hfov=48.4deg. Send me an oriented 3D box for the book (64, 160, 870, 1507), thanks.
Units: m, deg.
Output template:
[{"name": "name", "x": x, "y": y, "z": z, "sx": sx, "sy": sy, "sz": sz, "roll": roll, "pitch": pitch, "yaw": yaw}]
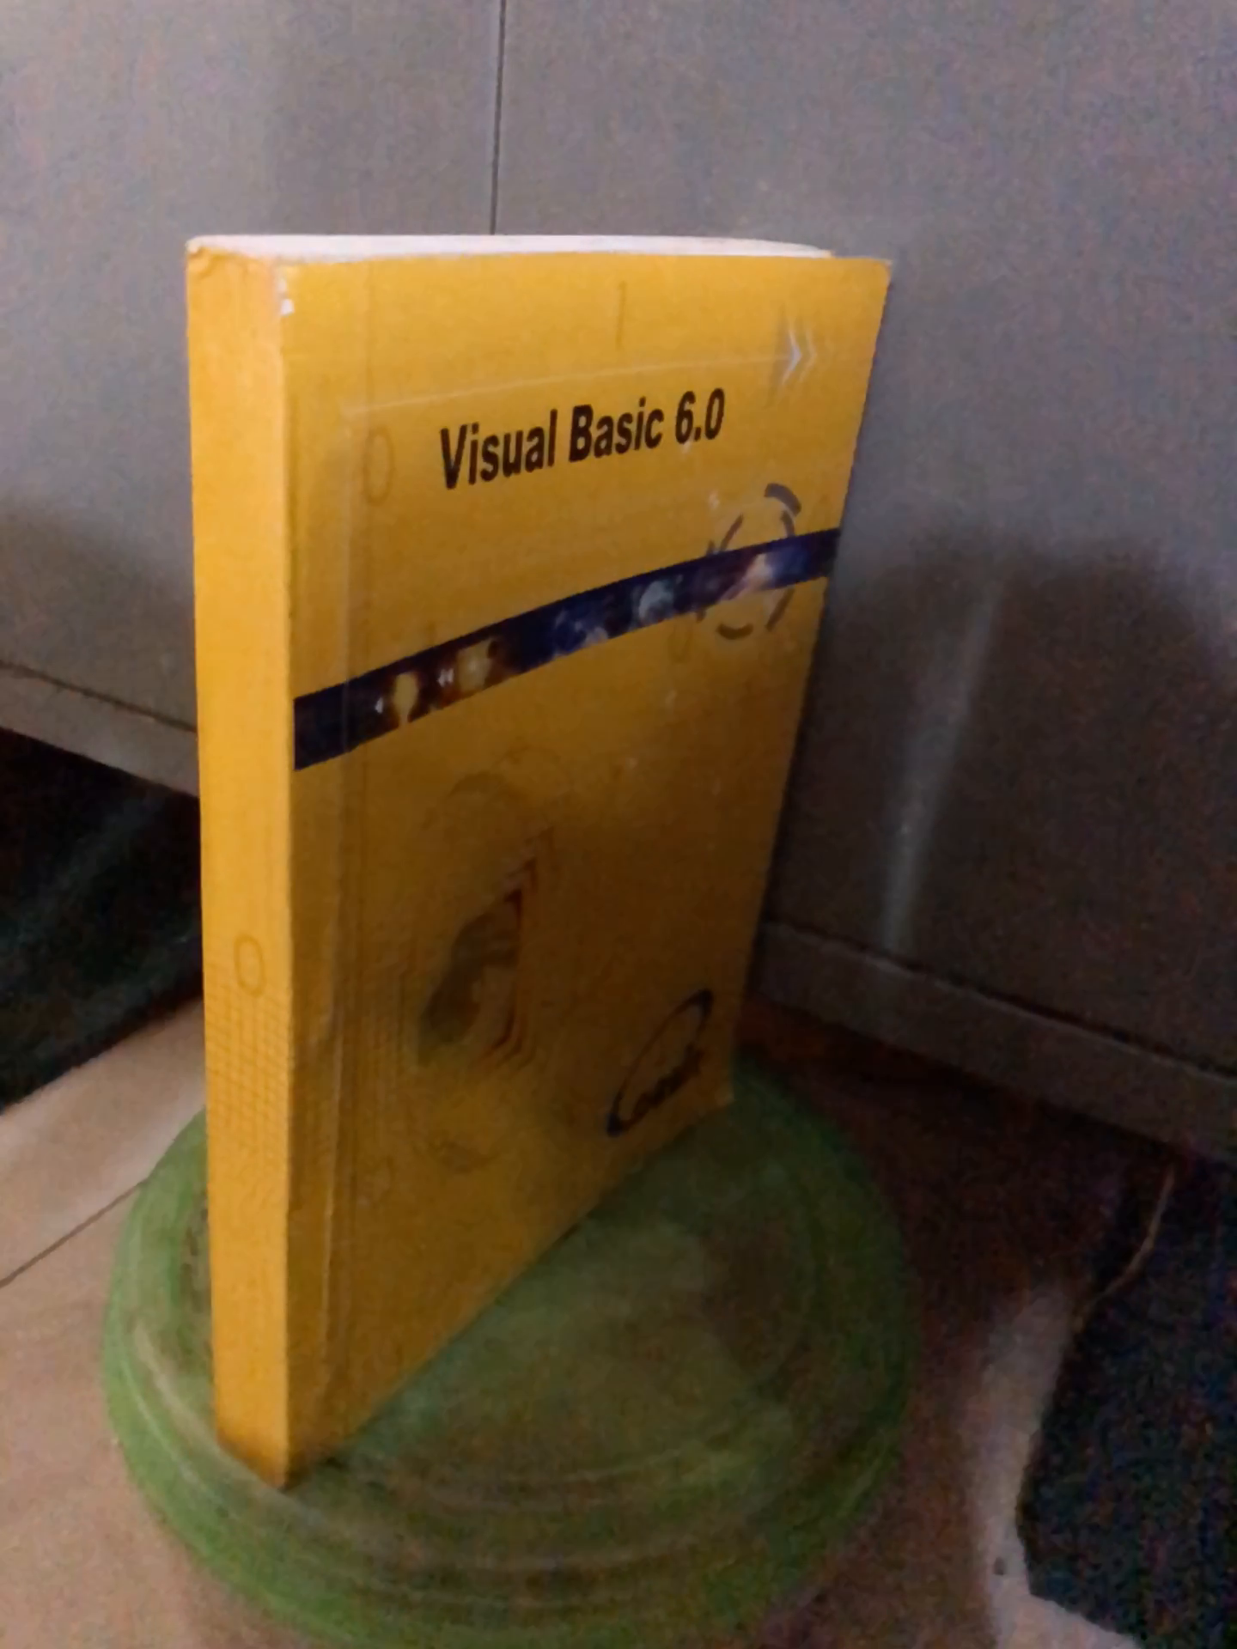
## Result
[{"name": "book", "x": -0.023, "y": -0.009, "z": 0.351, "sx": 0.040, "sy": 0.279, "sz": 0.221, "roll": 20, "pitch": 30, "yaw": 27}]
